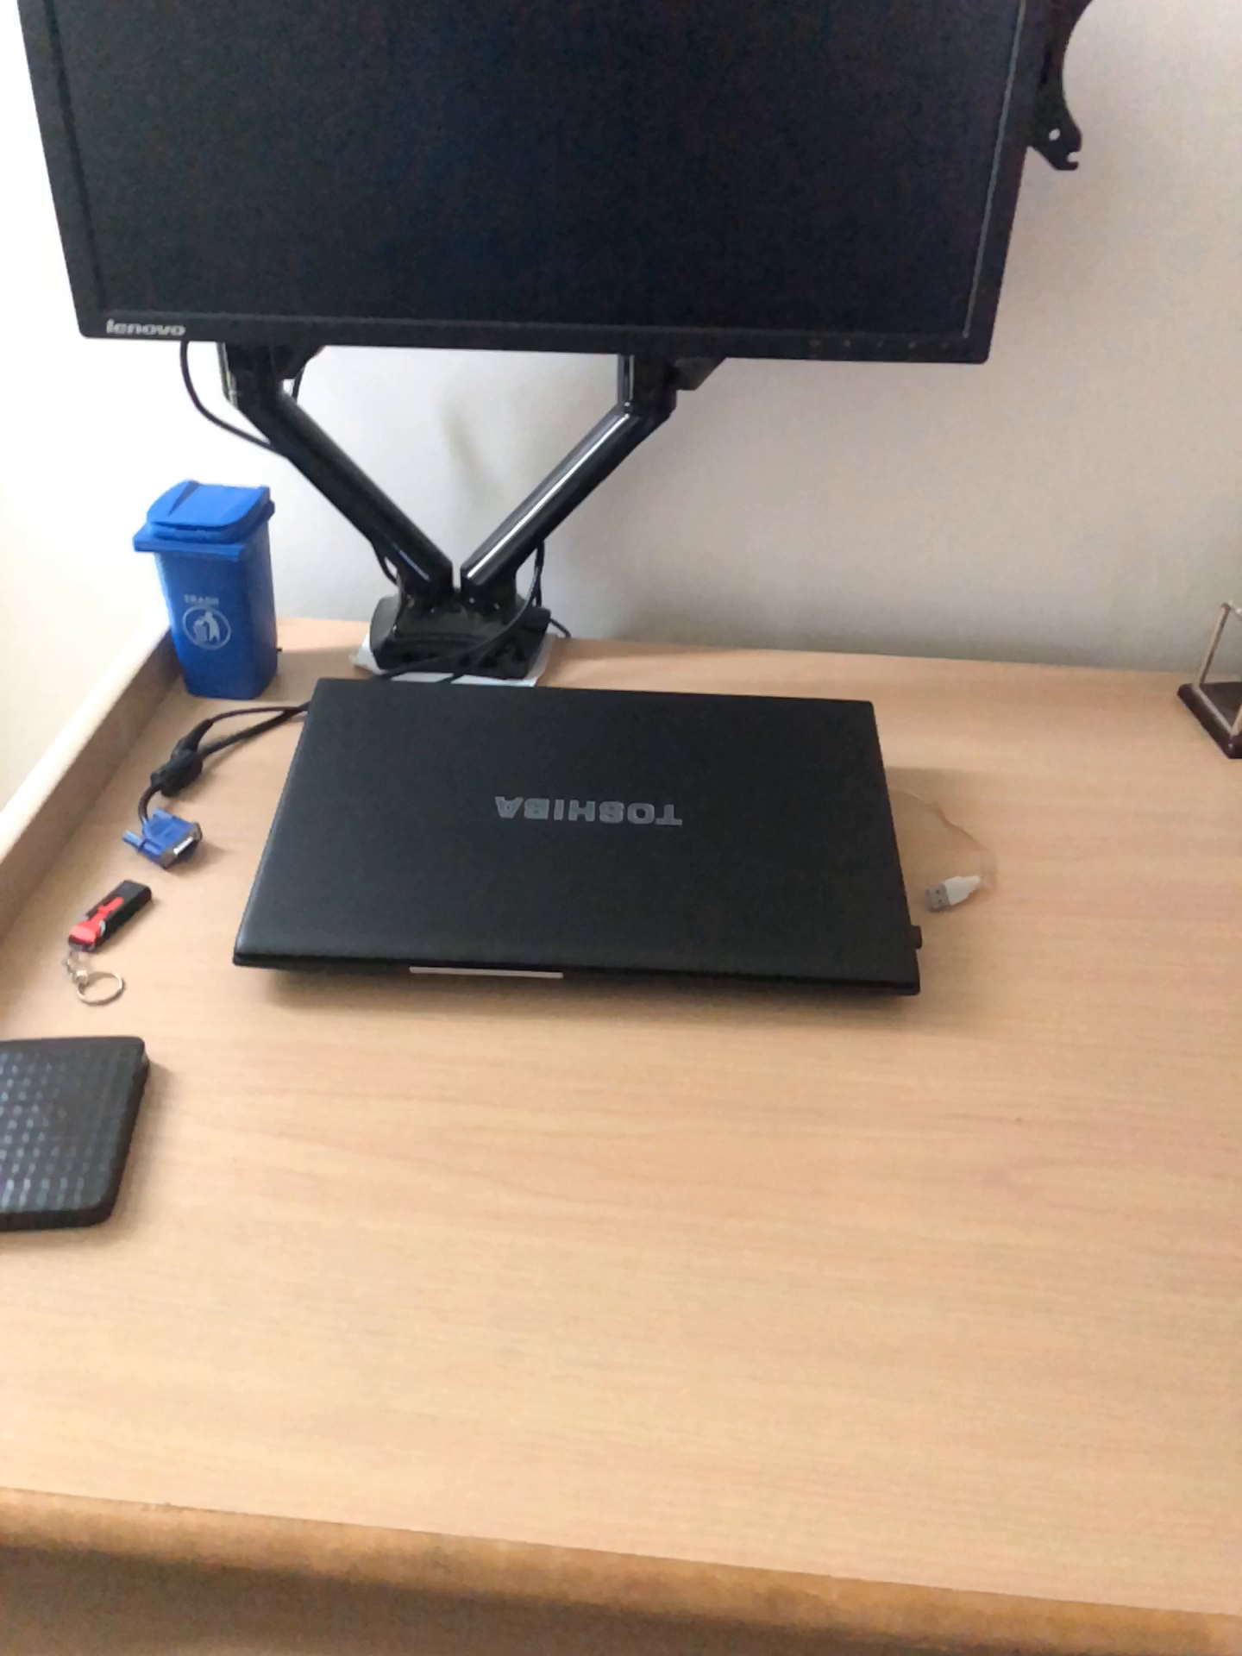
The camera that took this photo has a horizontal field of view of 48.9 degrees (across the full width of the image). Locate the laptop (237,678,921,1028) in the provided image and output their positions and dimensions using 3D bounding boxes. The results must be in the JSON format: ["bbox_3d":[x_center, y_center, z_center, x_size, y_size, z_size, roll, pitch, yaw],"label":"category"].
[{"bbox_3d":[-0.020,0.005,0.861,0.380,0.029,0.258,3,43,0],"label":"laptop"}]
